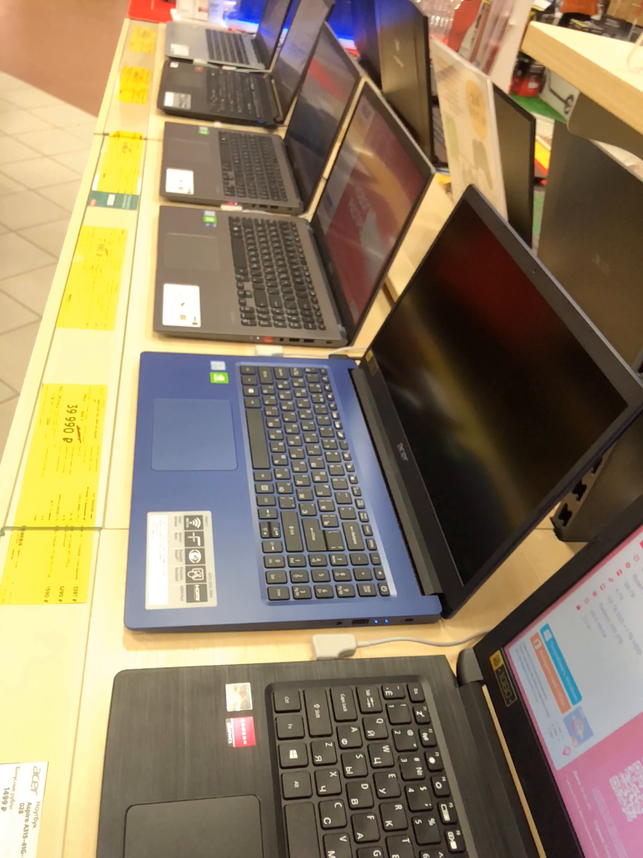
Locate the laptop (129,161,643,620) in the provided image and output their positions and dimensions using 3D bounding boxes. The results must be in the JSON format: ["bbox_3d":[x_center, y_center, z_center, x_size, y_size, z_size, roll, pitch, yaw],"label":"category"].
[{"bbox_3d":[0.013,-0.056,0.626,0.327,0.221,0.359,1,38,-11],"label":"laptop"}]
